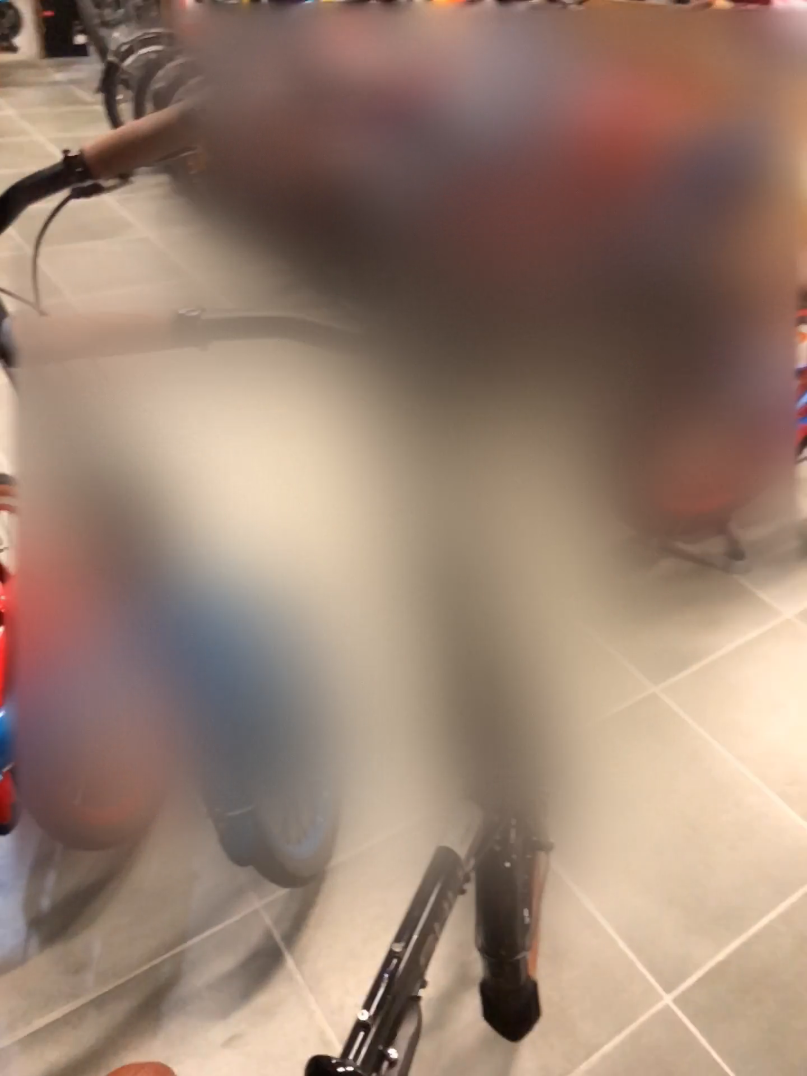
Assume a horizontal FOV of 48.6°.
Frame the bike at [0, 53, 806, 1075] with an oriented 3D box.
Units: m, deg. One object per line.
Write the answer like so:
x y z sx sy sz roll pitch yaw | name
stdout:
-0.072 0.367 0.668 0.564 1.057 1.280 17 39 14 | bike

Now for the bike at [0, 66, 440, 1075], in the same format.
-0.605 0.209 0.858 0.567 1.029 1.379 24 39 22 | bike
